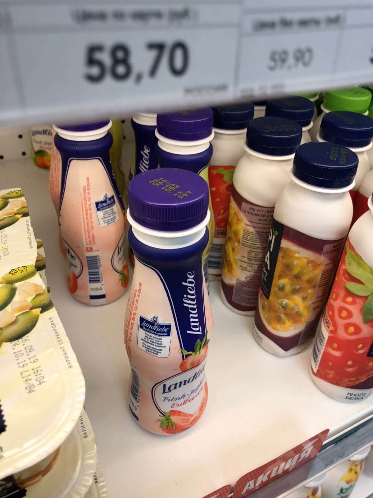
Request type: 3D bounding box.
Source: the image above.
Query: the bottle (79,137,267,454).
[{"bbox_3d":[-0.013,0.037,0.266,0.070,0.189,0.070,2,38,-1],"label":"bottle"}]
